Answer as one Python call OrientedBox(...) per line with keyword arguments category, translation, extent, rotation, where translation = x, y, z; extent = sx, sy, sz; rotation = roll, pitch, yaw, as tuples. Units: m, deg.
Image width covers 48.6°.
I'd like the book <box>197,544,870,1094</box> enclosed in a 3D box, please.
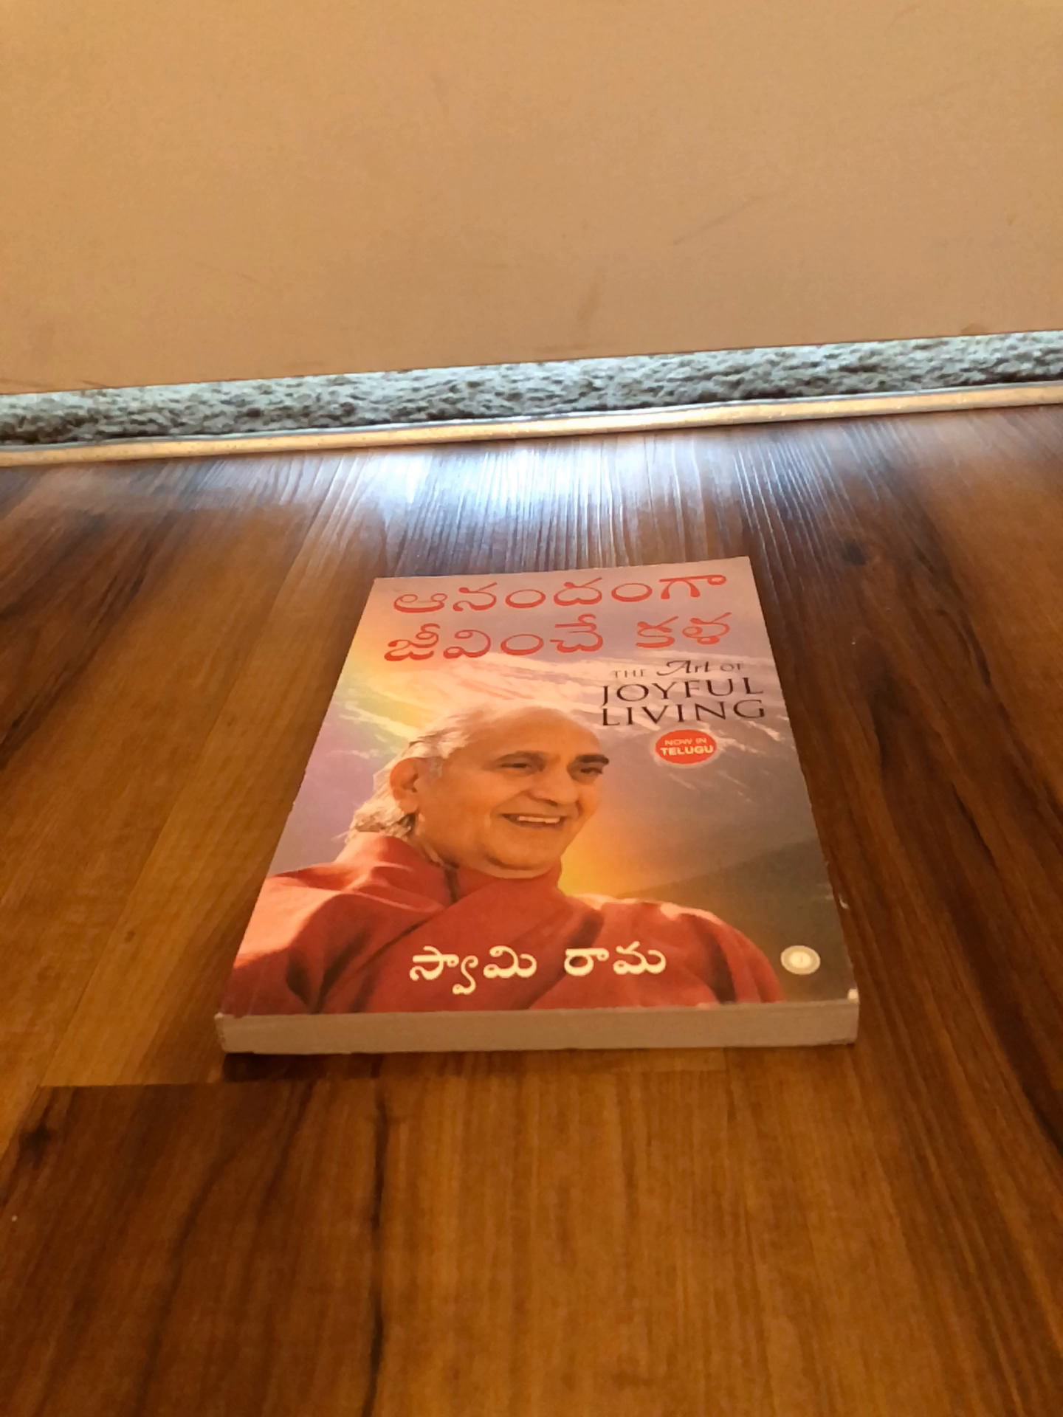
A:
OrientedBox(category="book", translation=(0.005, 0.014, 0.347), extent=(0.144, 0.020, 0.220), rotation=(-3, 34, 6))
